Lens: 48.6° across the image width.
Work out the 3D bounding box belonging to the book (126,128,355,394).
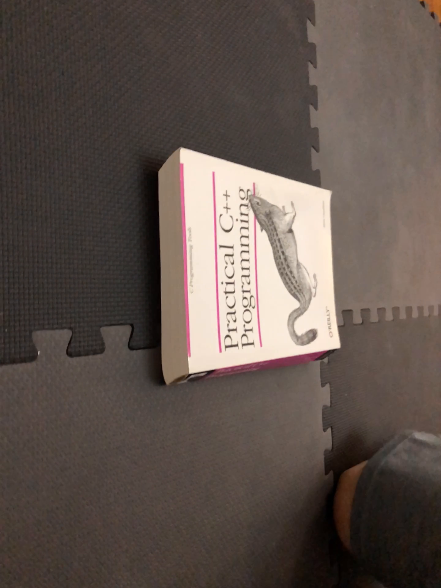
[{"bbox_3d":[0.035,-0.024,0.473,0.251,0.050,0.200,0,81,-48],"label":"book"}]
